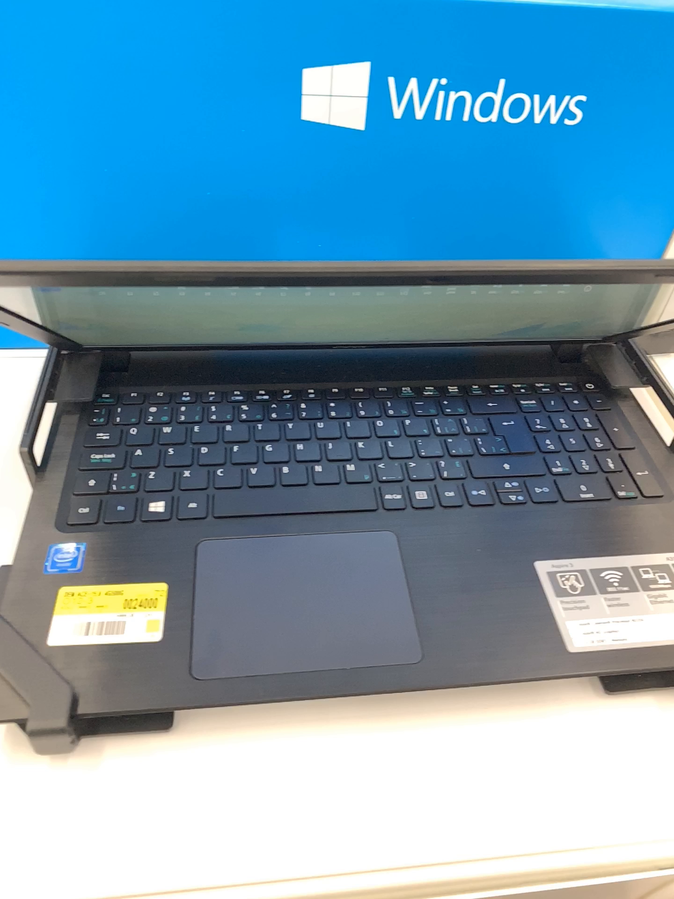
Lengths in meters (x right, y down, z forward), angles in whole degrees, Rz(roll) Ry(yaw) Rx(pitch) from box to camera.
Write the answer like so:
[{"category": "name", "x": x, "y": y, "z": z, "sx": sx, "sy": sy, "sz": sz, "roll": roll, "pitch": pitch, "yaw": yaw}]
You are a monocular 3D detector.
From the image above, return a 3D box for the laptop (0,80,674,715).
[{"category": "laptop", "x": 0.027, "y": -0.041, "z": 0.312, "sx": 0.344, "sy": 0.157, "sz": 0.234, "roll": -2, "pitch": 44, "yaw": -7}]
